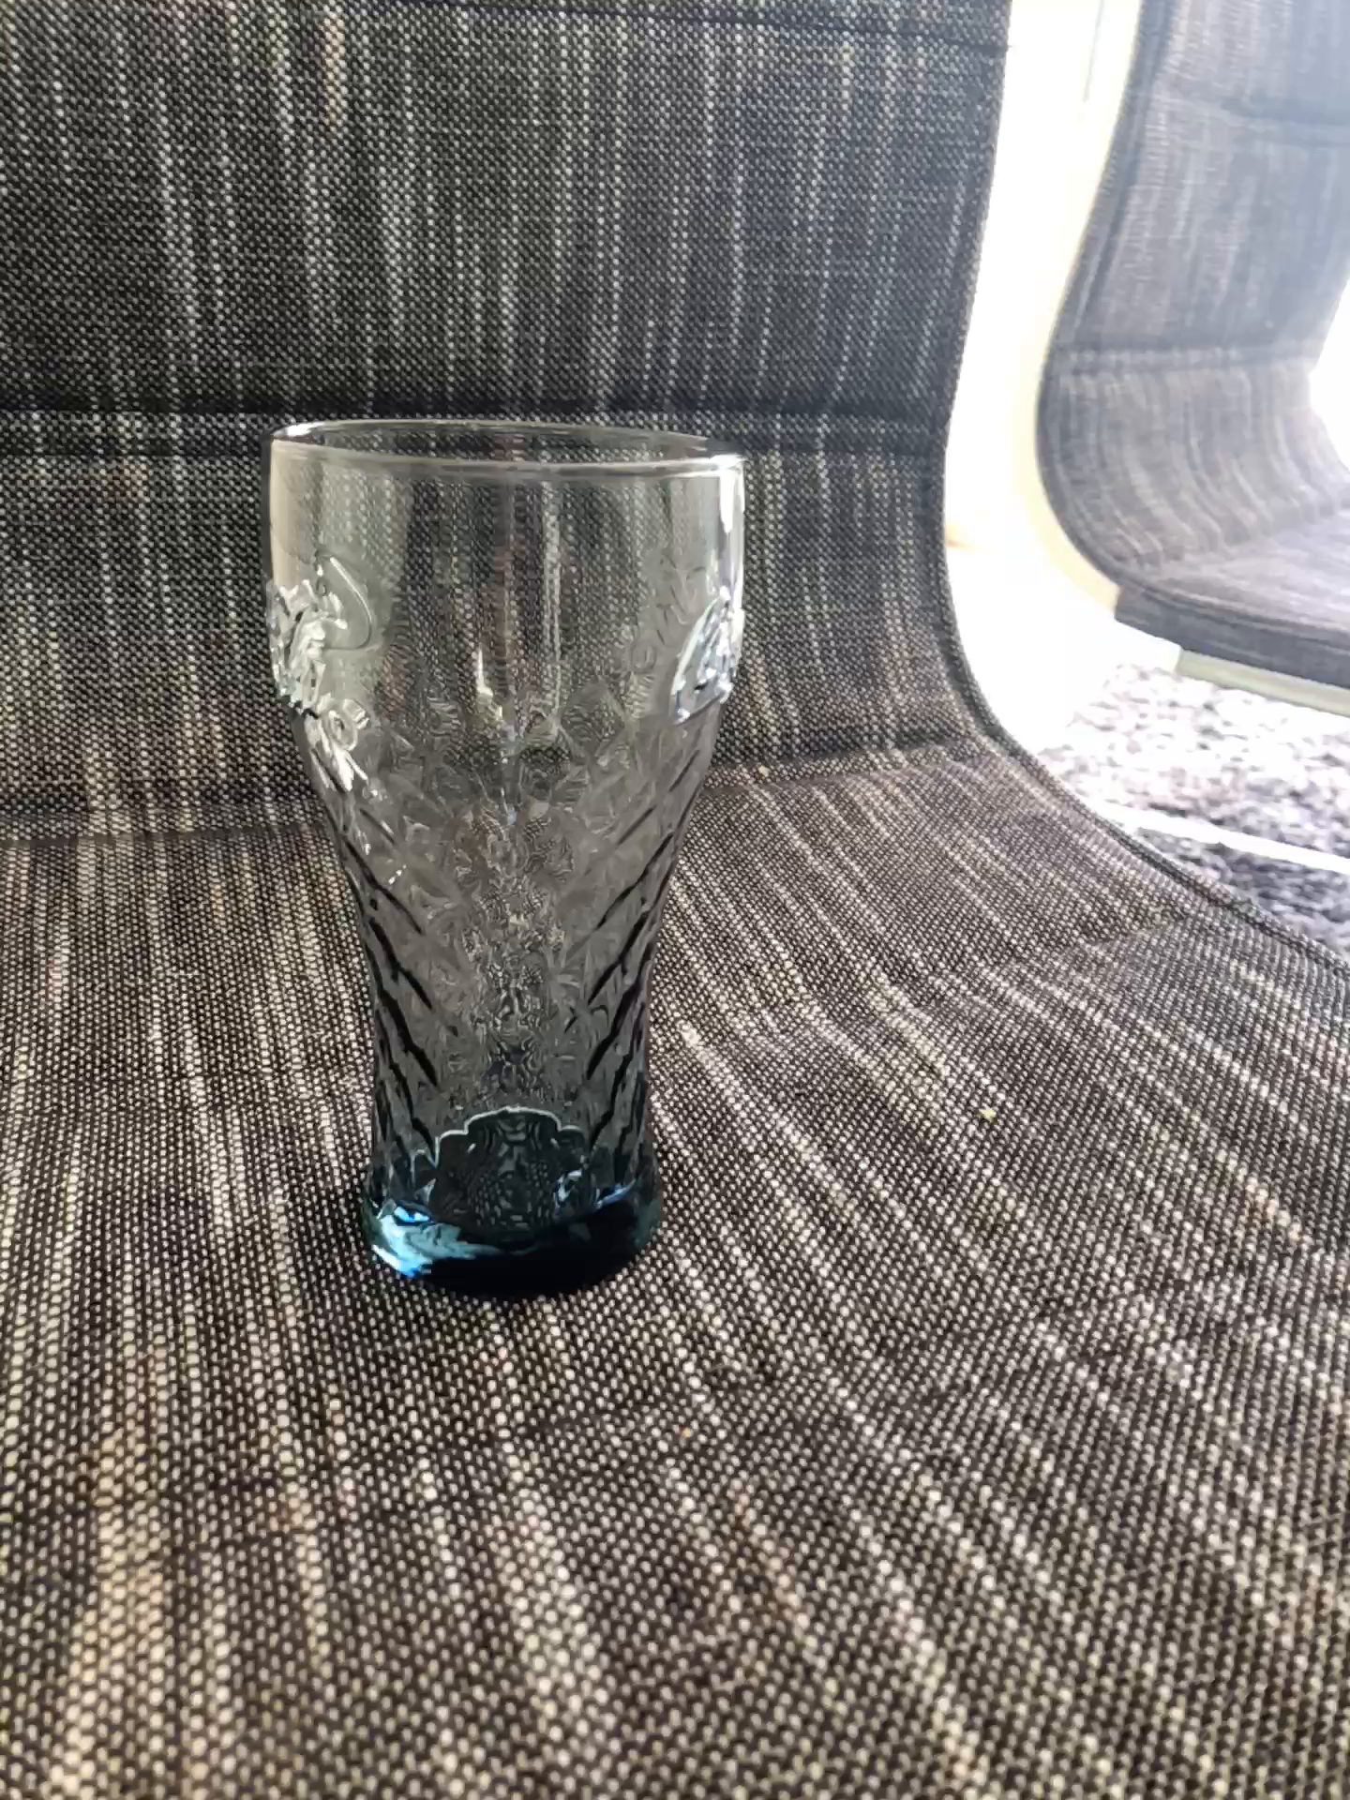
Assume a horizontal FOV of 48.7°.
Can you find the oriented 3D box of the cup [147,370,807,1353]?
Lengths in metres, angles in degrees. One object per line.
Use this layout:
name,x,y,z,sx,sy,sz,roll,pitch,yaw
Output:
cup,-0.028,-0.013,0.254,0.080,0.139,0.080,3,19,-1
